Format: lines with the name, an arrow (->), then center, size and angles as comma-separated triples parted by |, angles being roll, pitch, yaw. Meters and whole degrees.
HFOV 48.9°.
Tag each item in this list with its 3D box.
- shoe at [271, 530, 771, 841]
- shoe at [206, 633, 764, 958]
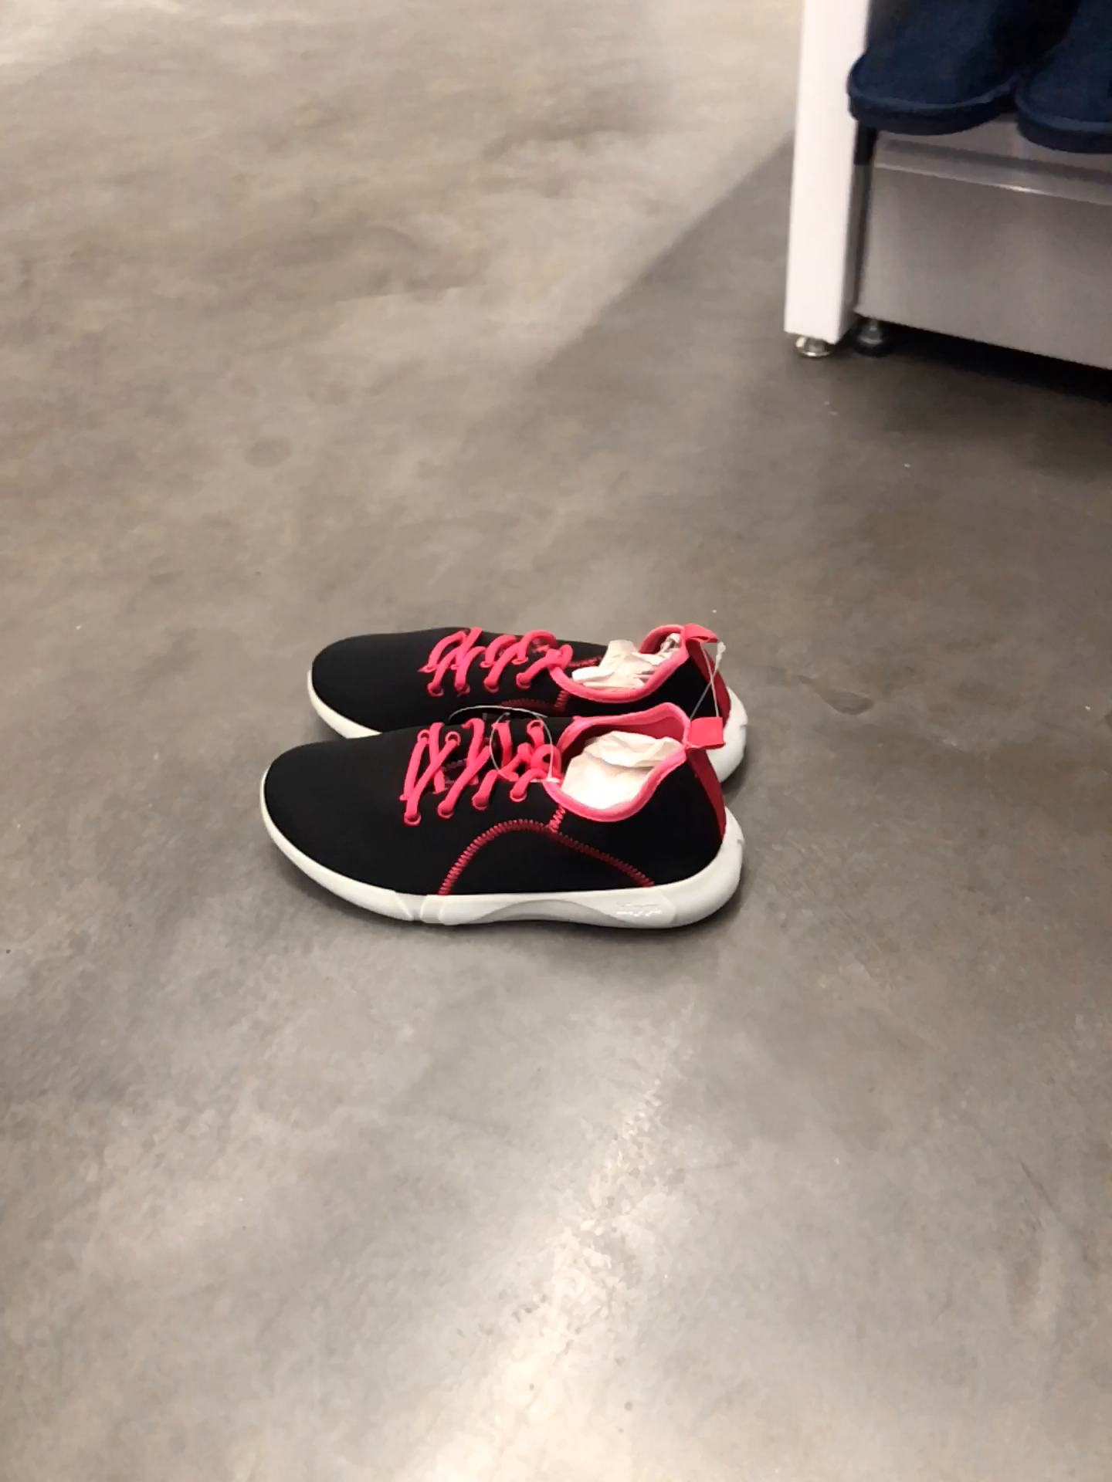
shoe -> -0.013, -0.032, 0.638 | 0.230, 0.090, 0.101 | 8, 49, 13
shoe -> -0.024, 0.023, 0.567 | 0.230, 0.090, 0.101 | 4, 48, 10
